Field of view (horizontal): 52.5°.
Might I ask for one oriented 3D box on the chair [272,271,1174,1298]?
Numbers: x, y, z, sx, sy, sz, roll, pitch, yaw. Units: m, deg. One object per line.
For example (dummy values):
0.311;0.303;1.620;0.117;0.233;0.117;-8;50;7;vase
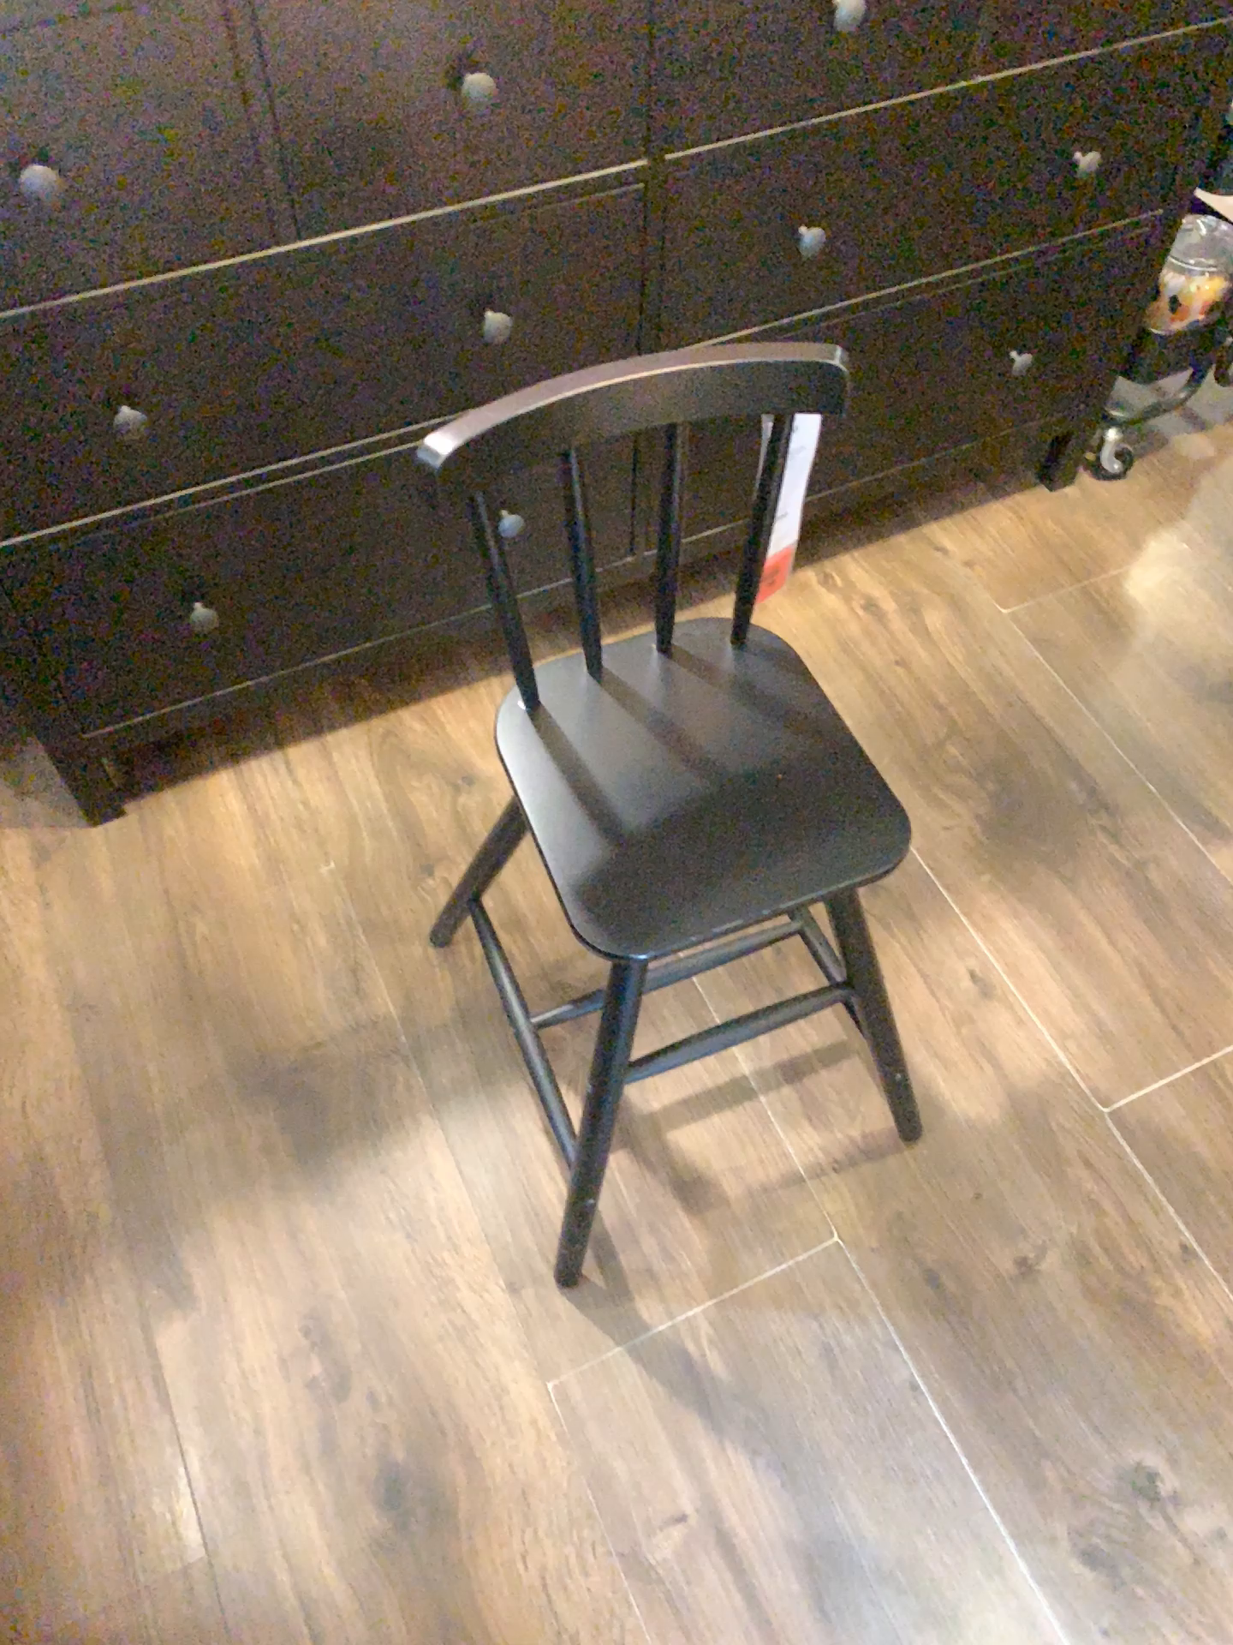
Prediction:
0.040;0.039;1.199;0.450;0.848;0.471;-19;59;-13;chair
